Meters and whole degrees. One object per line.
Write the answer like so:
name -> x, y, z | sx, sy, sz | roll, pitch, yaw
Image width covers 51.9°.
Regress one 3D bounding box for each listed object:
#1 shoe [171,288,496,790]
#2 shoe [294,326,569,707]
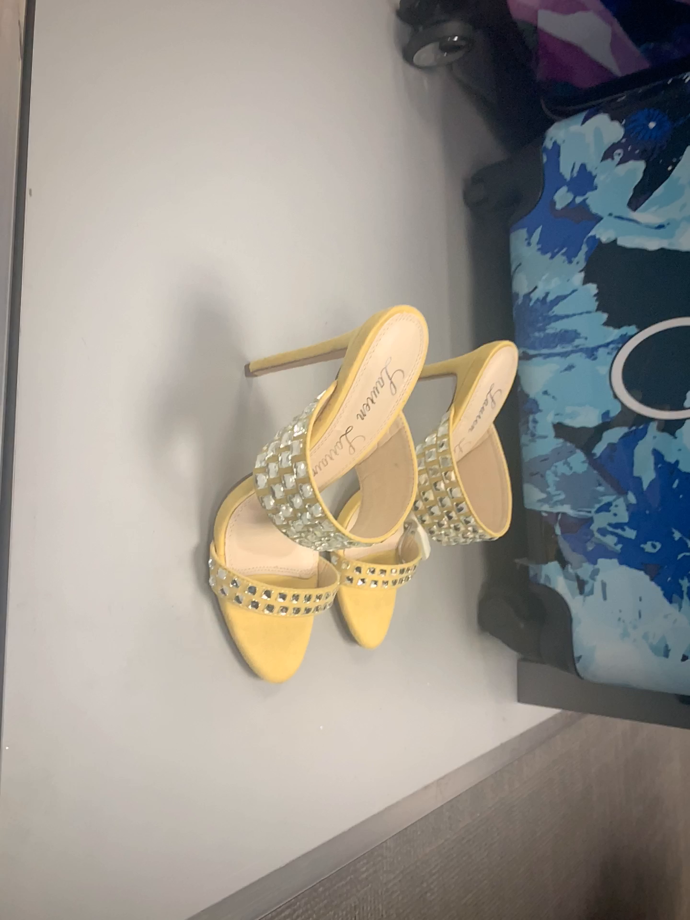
shoe -> -0.003, 0.030, 0.365 | 0.116, 0.114, 0.202 | 0, 93, -54
shoe -> 0.058, 0.031, 0.448 | 0.111, 0.116, 0.199 | 10, 84, -53
